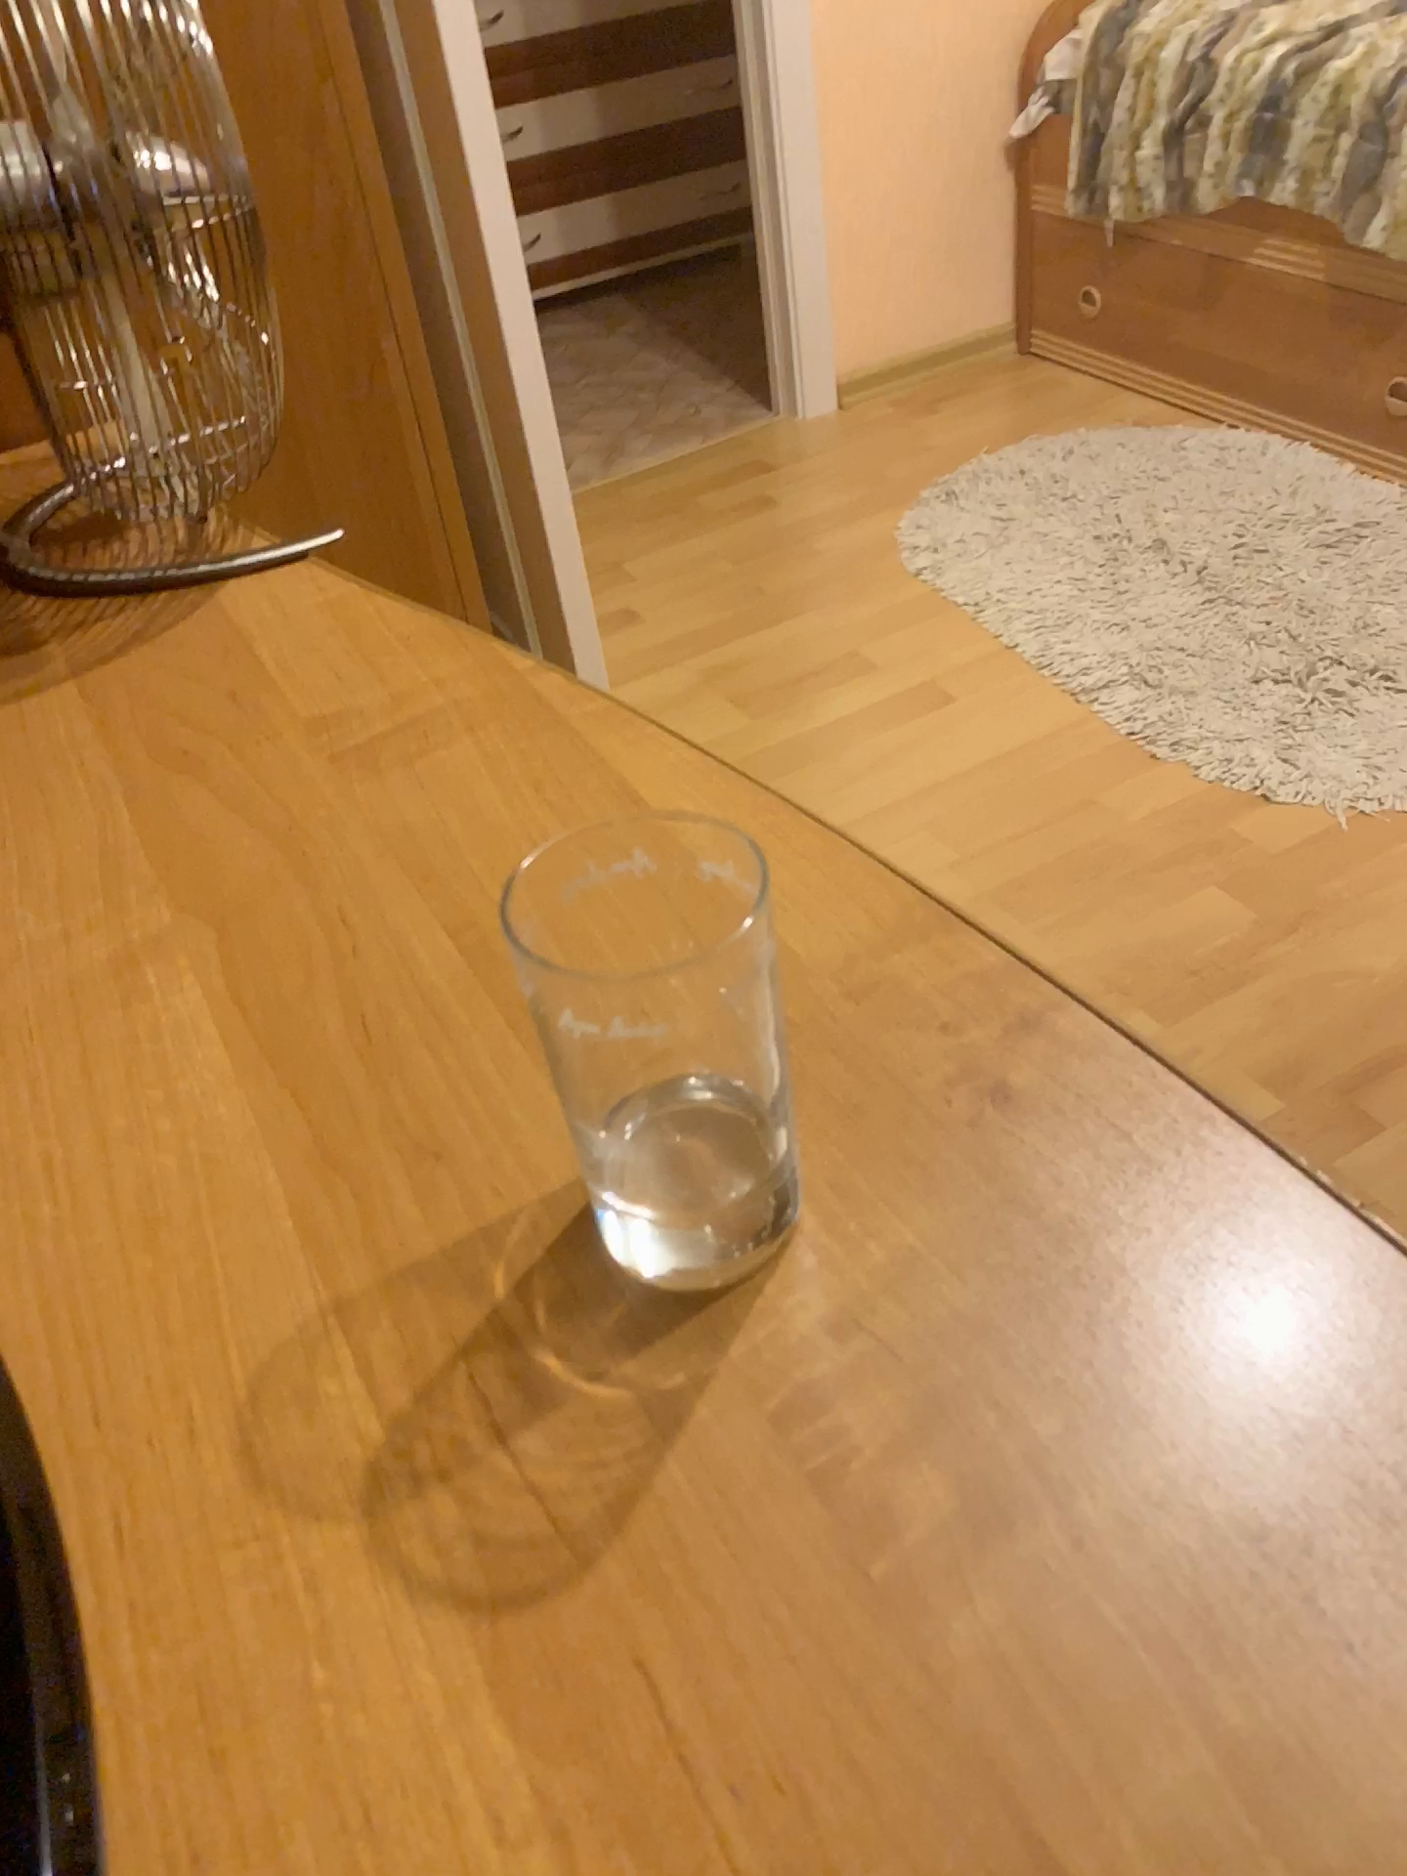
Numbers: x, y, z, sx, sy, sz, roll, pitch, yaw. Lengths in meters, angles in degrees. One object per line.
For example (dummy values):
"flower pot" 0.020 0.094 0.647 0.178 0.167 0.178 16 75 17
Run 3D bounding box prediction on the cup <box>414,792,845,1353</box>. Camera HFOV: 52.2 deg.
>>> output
"cup" -0.010 0.029 0.314 0.060 0.099 0.060 -6 39 5
